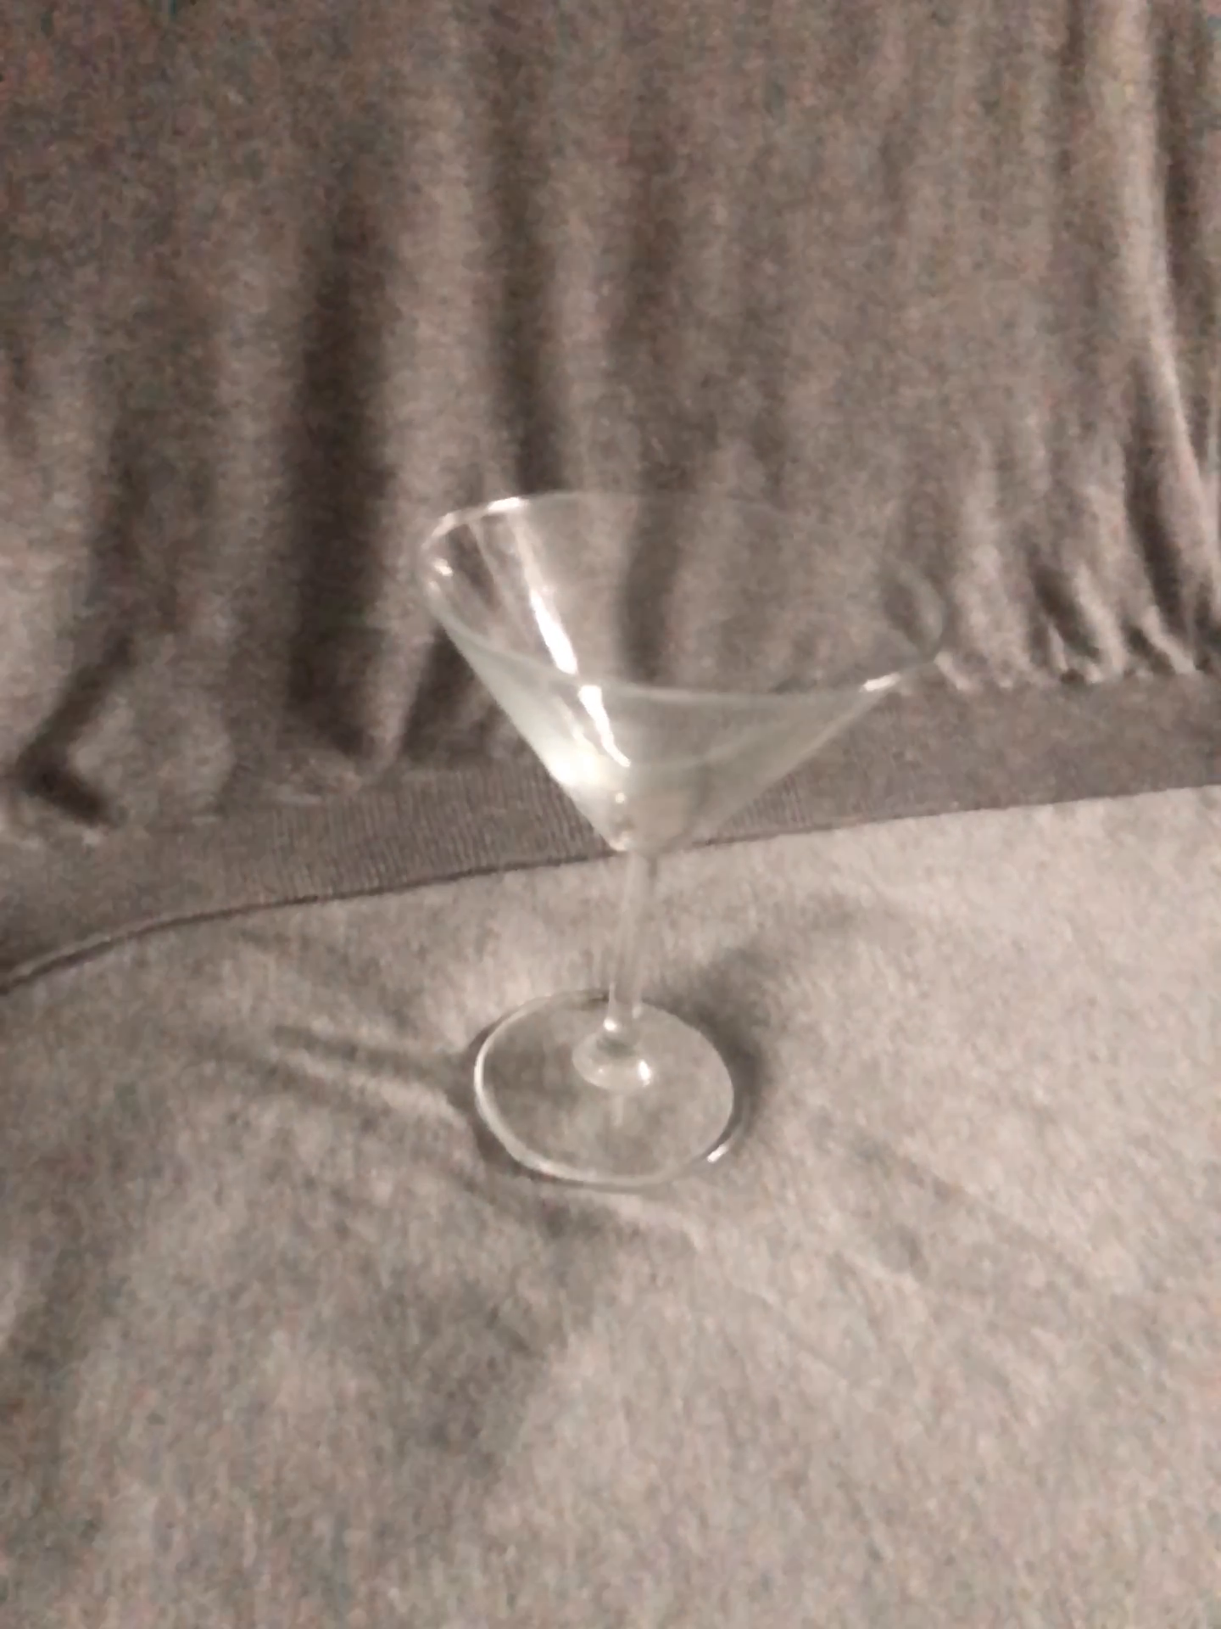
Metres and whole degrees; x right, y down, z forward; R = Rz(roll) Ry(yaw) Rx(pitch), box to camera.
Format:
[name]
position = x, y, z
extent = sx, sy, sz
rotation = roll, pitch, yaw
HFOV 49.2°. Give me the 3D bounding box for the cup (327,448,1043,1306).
[cup]
position = 0.000, 0.012, 0.318
extent = 0.113, 0.157, 0.112
rotation = 8, 32, -5
